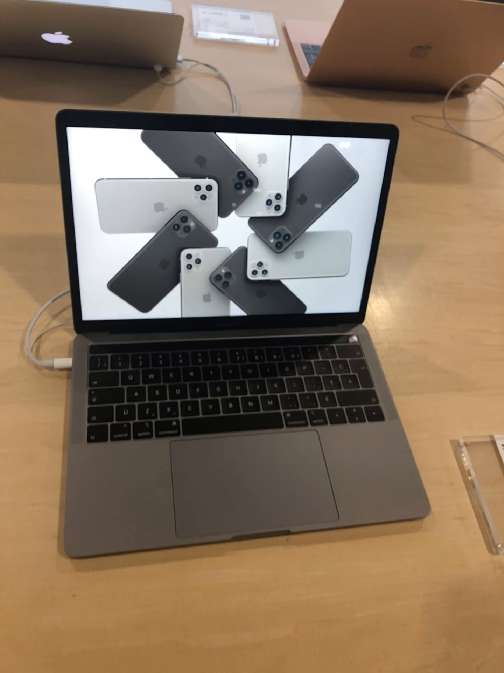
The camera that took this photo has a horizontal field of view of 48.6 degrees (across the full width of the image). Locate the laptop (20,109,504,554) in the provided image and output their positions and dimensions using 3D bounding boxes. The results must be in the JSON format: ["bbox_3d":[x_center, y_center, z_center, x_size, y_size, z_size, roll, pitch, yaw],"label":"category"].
[{"bbox_3d":[-0.007,-0.014,0.463,0.296,0.181,0.296,-2,52,-13],"label":"laptop"}]
